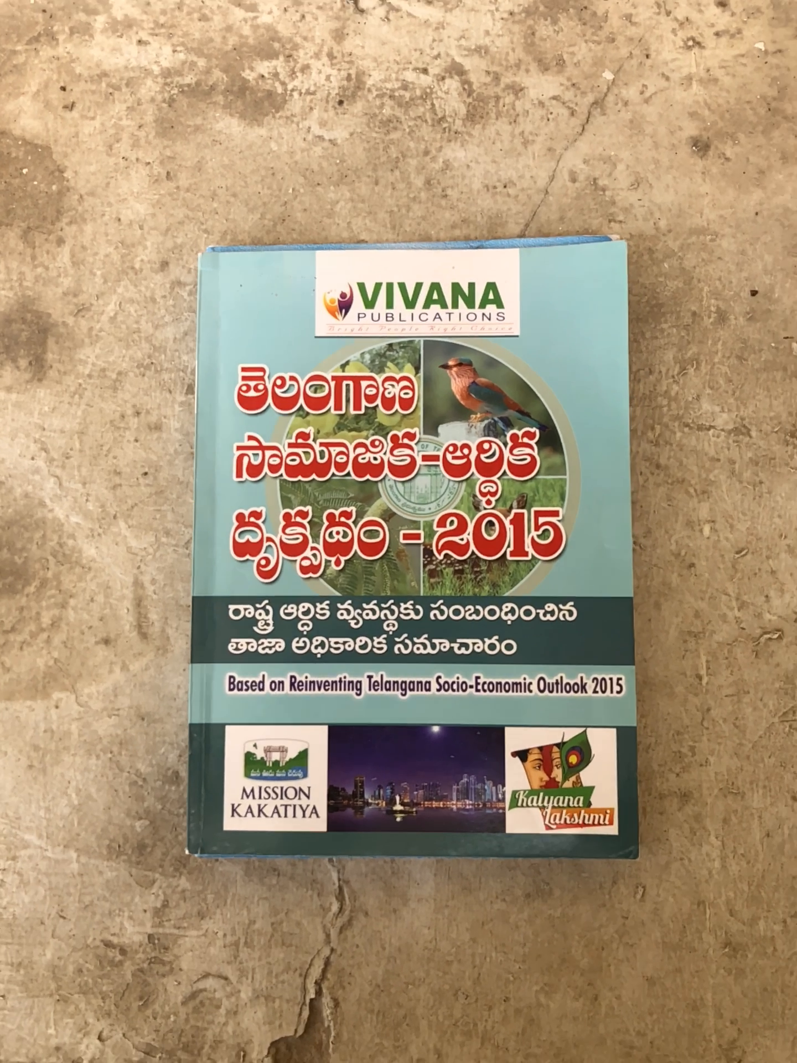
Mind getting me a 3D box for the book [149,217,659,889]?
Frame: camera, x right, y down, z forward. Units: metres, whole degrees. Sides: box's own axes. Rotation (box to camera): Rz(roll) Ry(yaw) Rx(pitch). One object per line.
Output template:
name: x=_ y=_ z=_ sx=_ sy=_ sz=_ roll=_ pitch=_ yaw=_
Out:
book: x=0.002 y=0.005 z=0.374 sx=0.200 sy=0.030 sz=0.270 roll=0 pitch=85 yaw=2
